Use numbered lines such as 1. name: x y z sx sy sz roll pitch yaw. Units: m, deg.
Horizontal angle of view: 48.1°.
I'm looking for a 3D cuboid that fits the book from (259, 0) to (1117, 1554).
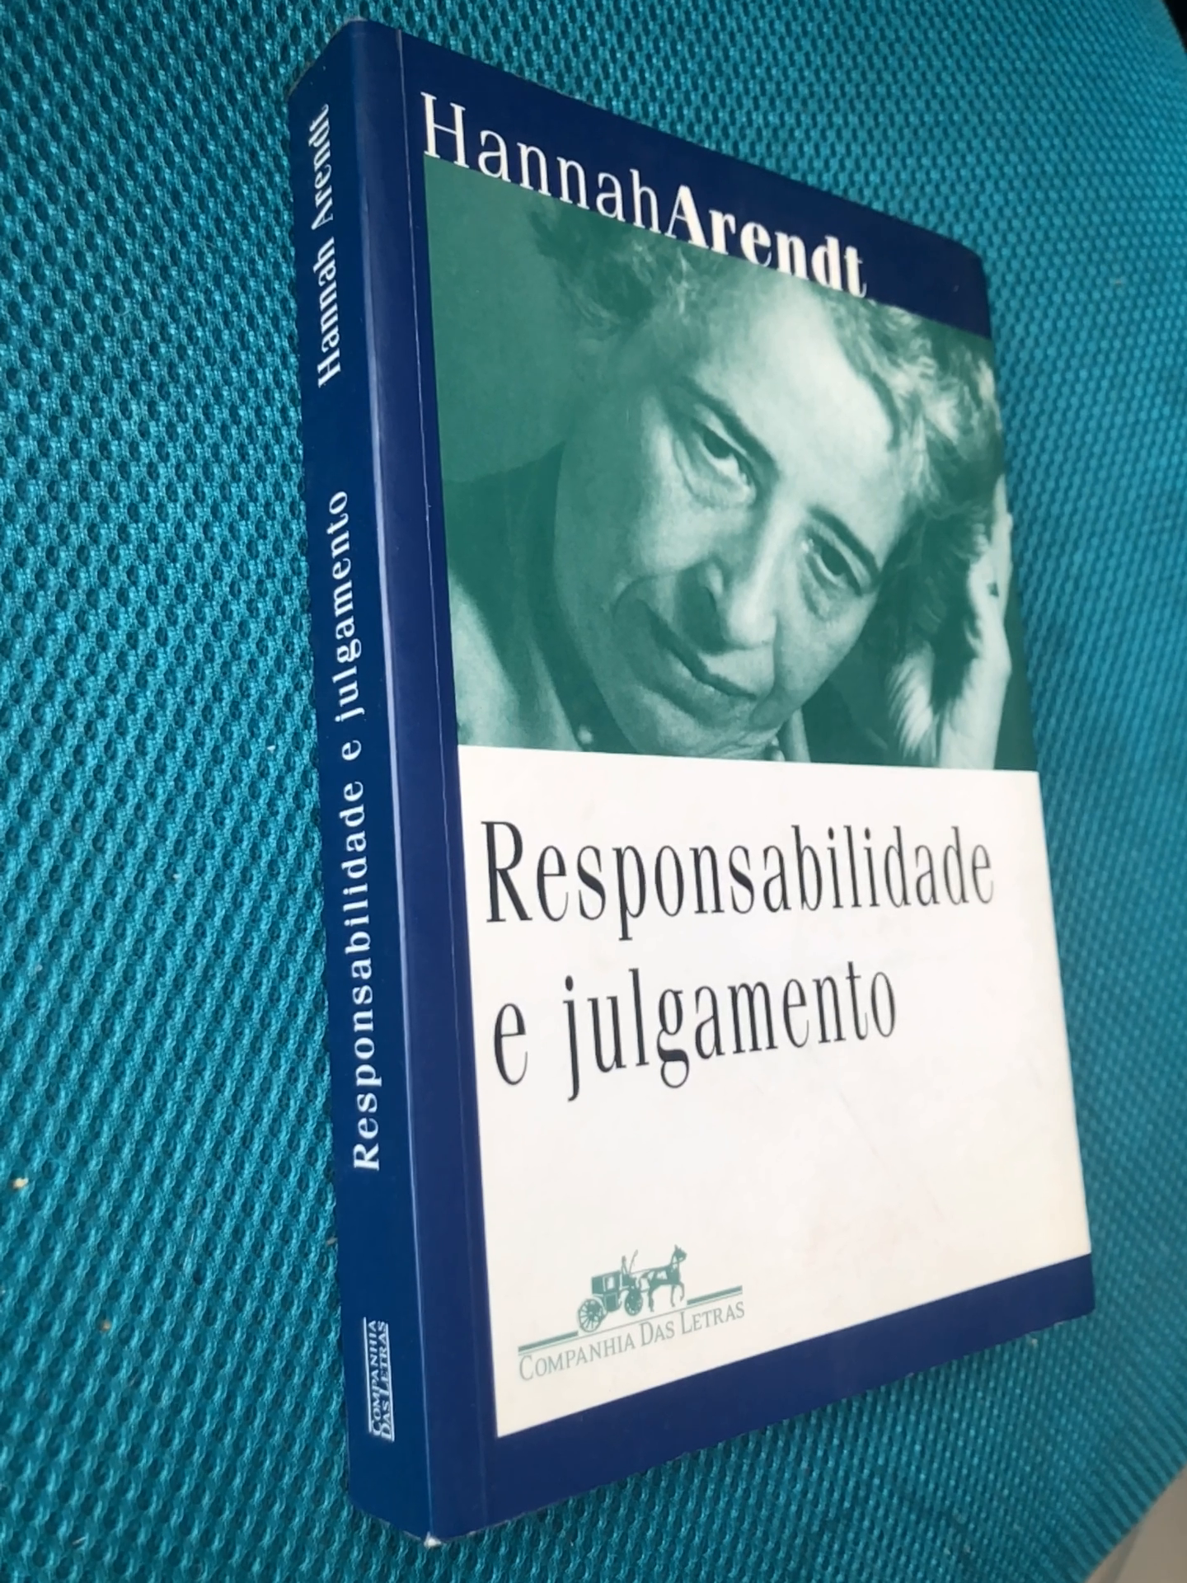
1. book: 0.021 -0.007 0.229 0.142 0.034 0.209 1 81 -35
